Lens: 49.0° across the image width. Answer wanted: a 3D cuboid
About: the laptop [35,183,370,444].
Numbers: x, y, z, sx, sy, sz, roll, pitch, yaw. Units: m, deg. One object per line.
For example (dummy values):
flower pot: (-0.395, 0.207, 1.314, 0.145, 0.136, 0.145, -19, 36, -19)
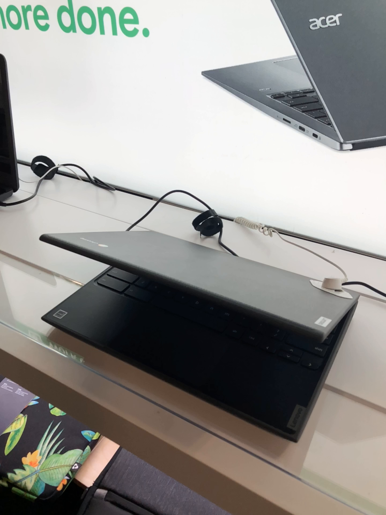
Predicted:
laptop: (0.008, 0.022, 0.428, 0.277, 0.072, 0.186, 18, 40, 29)
